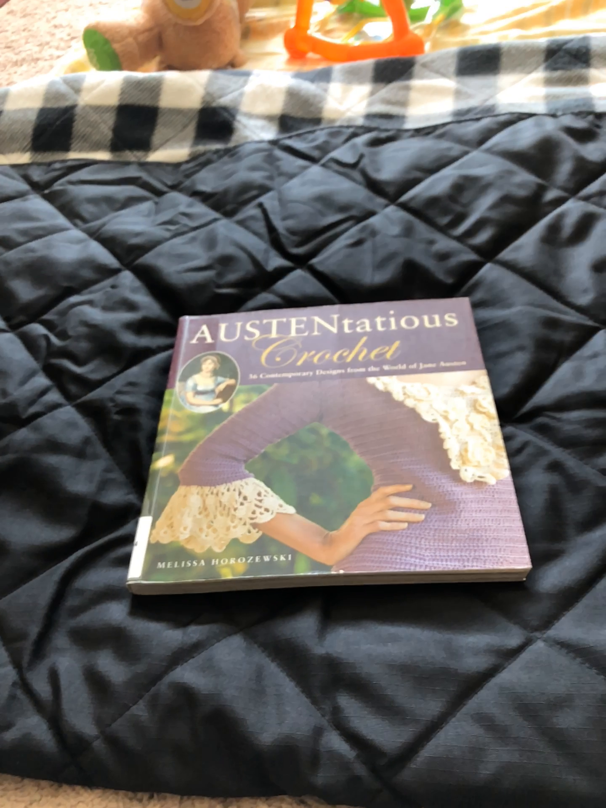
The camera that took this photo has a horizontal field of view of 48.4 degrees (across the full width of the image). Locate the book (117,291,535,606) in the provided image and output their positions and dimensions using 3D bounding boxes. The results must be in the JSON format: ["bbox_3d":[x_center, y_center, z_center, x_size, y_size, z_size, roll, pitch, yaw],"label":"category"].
[{"bbox_3d":[0.011,0.015,0.440,0.220,0.020,0.230,-4,47,5],"label":"book"}]
